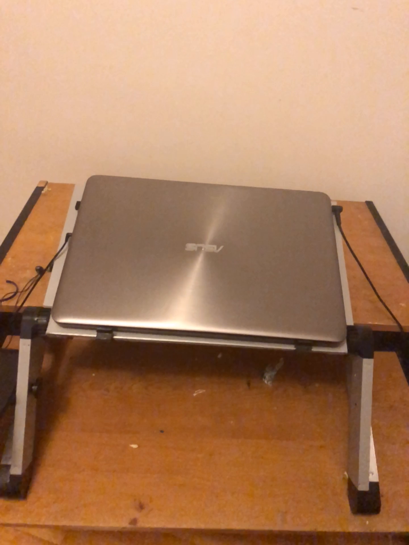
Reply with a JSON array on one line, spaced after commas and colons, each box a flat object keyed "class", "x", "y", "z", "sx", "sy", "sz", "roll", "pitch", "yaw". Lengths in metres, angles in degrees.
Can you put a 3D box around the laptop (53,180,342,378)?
[{"class": "laptop", "x": -0.006, "y": -0.002, "z": 0.654, "sx": 0.361, "sy": 0.071, "sz": 0.250, "roll": 4, "pitch": 54, "yaw": 1}]
